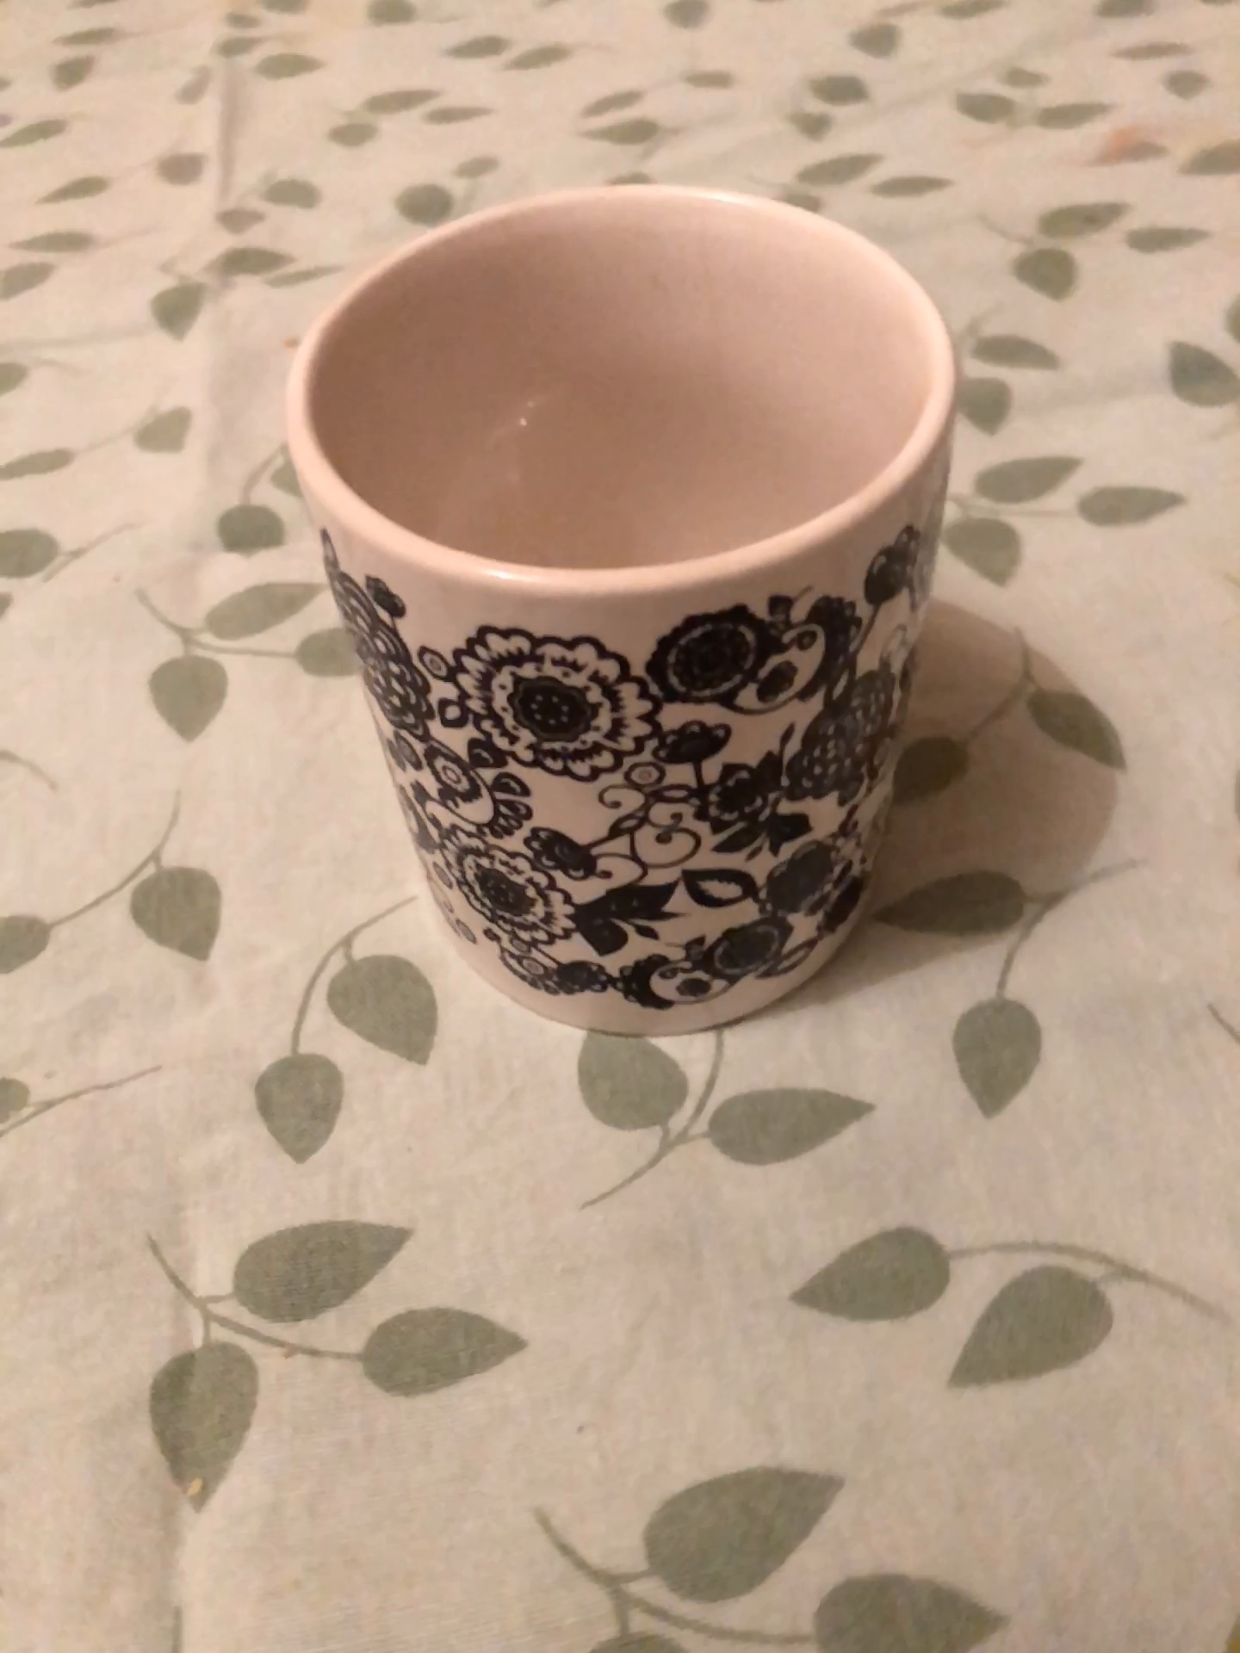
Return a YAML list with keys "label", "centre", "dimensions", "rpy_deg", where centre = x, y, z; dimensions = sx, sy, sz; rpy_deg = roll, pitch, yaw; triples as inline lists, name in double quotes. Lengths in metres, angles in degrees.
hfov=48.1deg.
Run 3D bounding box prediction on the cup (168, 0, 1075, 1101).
- label: "cup"
  centre: [0.012, -0.044, 0.210]
  dimensions: [0.080, 0.099, 0.121]
  rpy_deg: [12, 53, 13]
